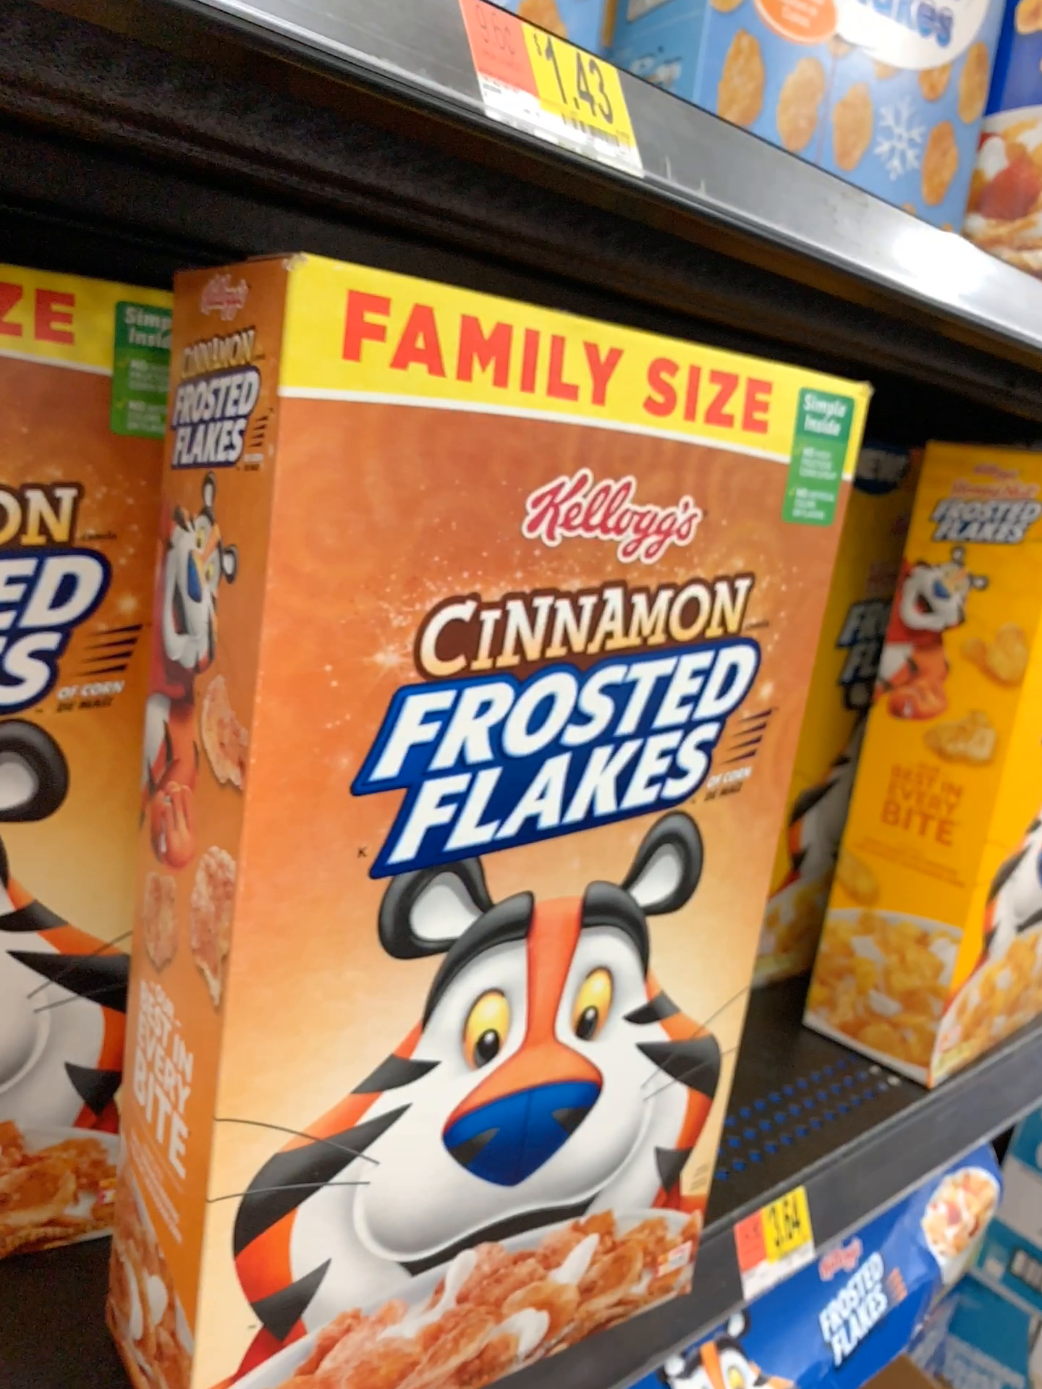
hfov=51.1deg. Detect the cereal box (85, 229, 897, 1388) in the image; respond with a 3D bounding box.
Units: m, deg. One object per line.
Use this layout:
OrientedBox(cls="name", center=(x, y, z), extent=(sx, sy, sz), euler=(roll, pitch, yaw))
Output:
OrientedBox(cls="cereal box", center=(-0.009, 0.059, 0.346), extent=(0.210, 0.339, 0.070), euler=(-1, 15, -37))
